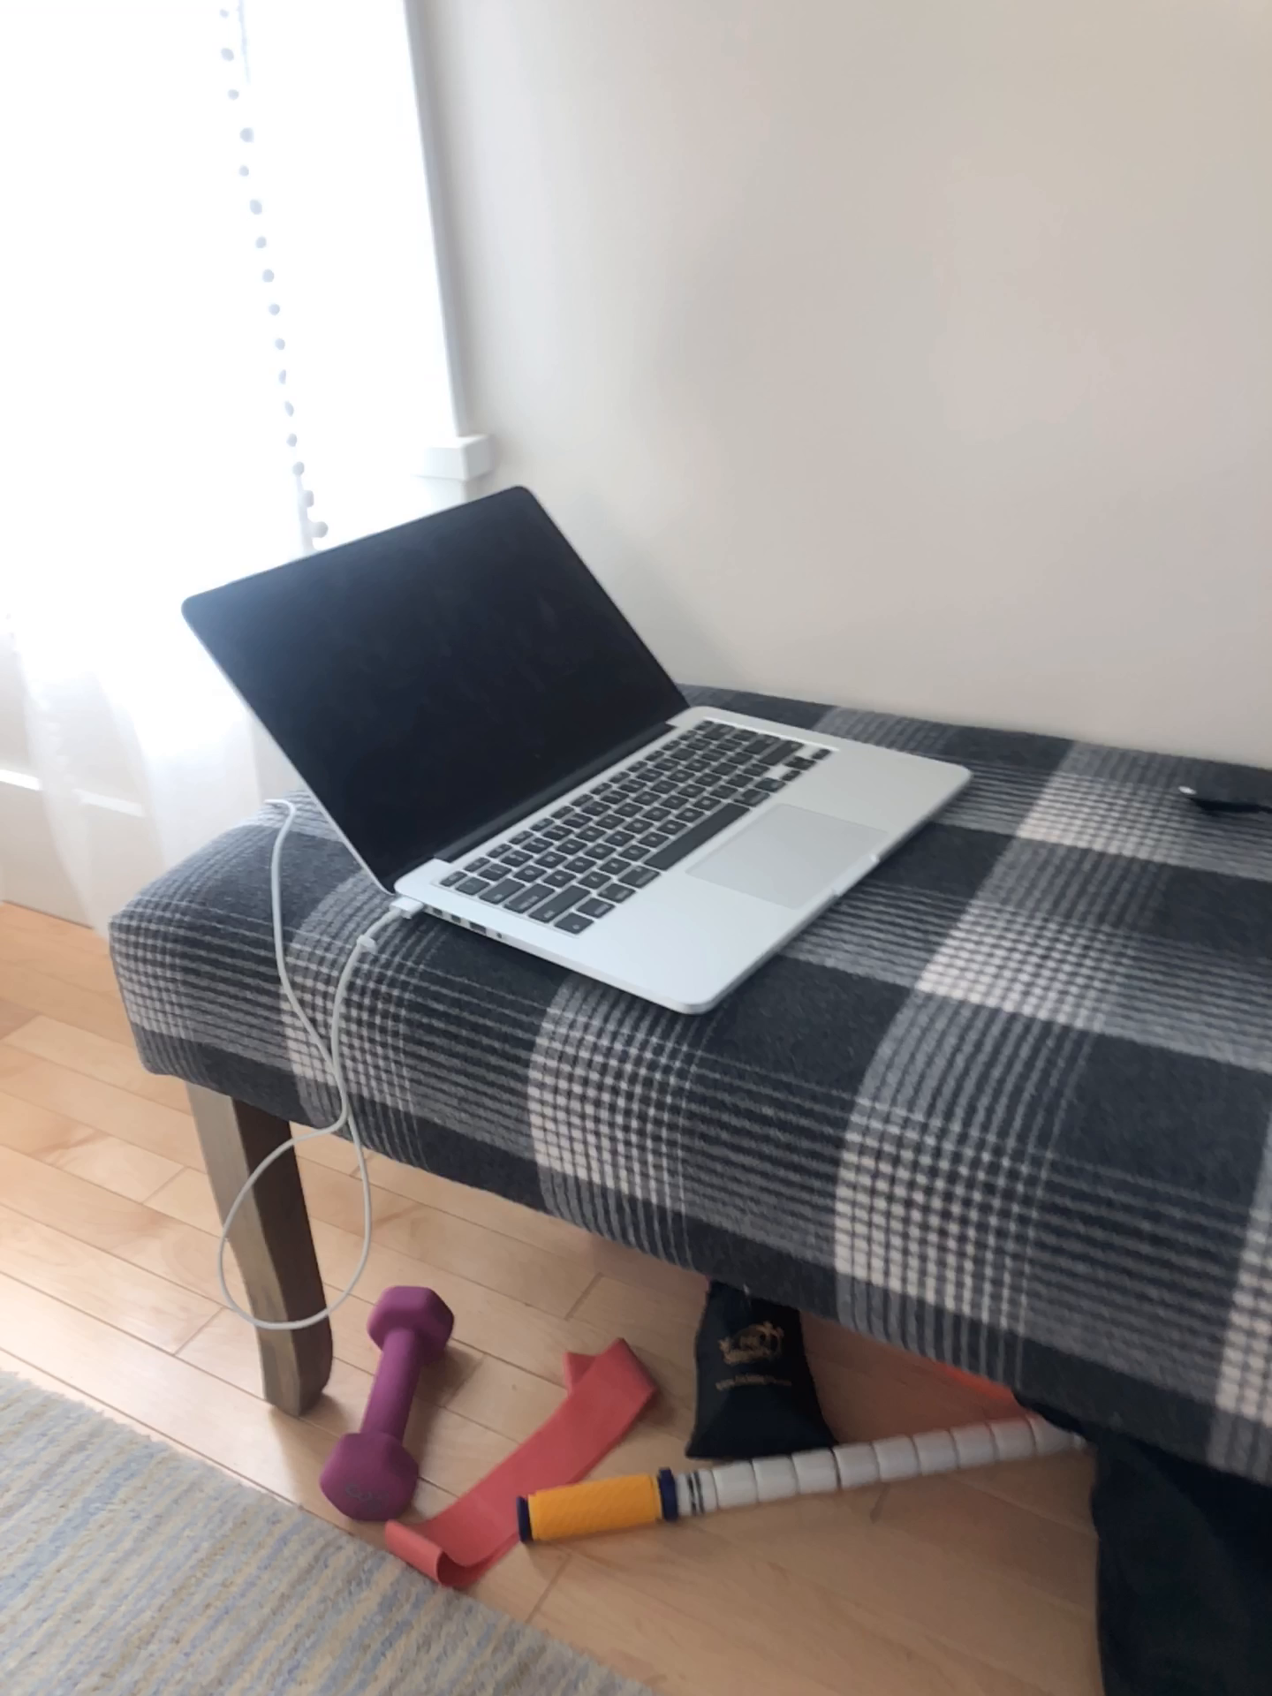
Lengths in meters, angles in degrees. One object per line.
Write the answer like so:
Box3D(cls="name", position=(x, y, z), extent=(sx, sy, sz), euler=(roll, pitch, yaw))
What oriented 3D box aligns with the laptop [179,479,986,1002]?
Box3D(cls="laptop", position=(-0.026, -0.099, 0.848), extent=(0.366, 0.142, 0.307), euler=(17, 35, 34))
